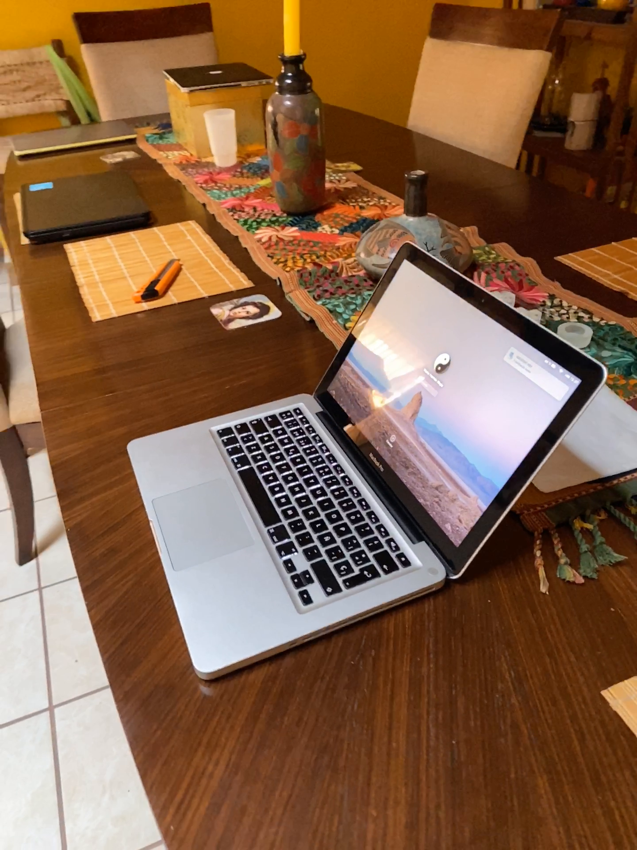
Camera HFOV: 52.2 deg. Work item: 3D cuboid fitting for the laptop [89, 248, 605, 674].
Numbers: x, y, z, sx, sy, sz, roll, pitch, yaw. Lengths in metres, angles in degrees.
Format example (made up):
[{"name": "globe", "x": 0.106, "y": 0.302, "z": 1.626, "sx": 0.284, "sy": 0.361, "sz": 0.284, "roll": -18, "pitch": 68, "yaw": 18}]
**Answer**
[{"name": "laptop", "x": 0.001, "y": -0.006, "z": 0.635, "sx": 0.357, "sy": 0.170, "sz": 0.326, "roll": -16, "pitch": 38, "yaw": -17}]
